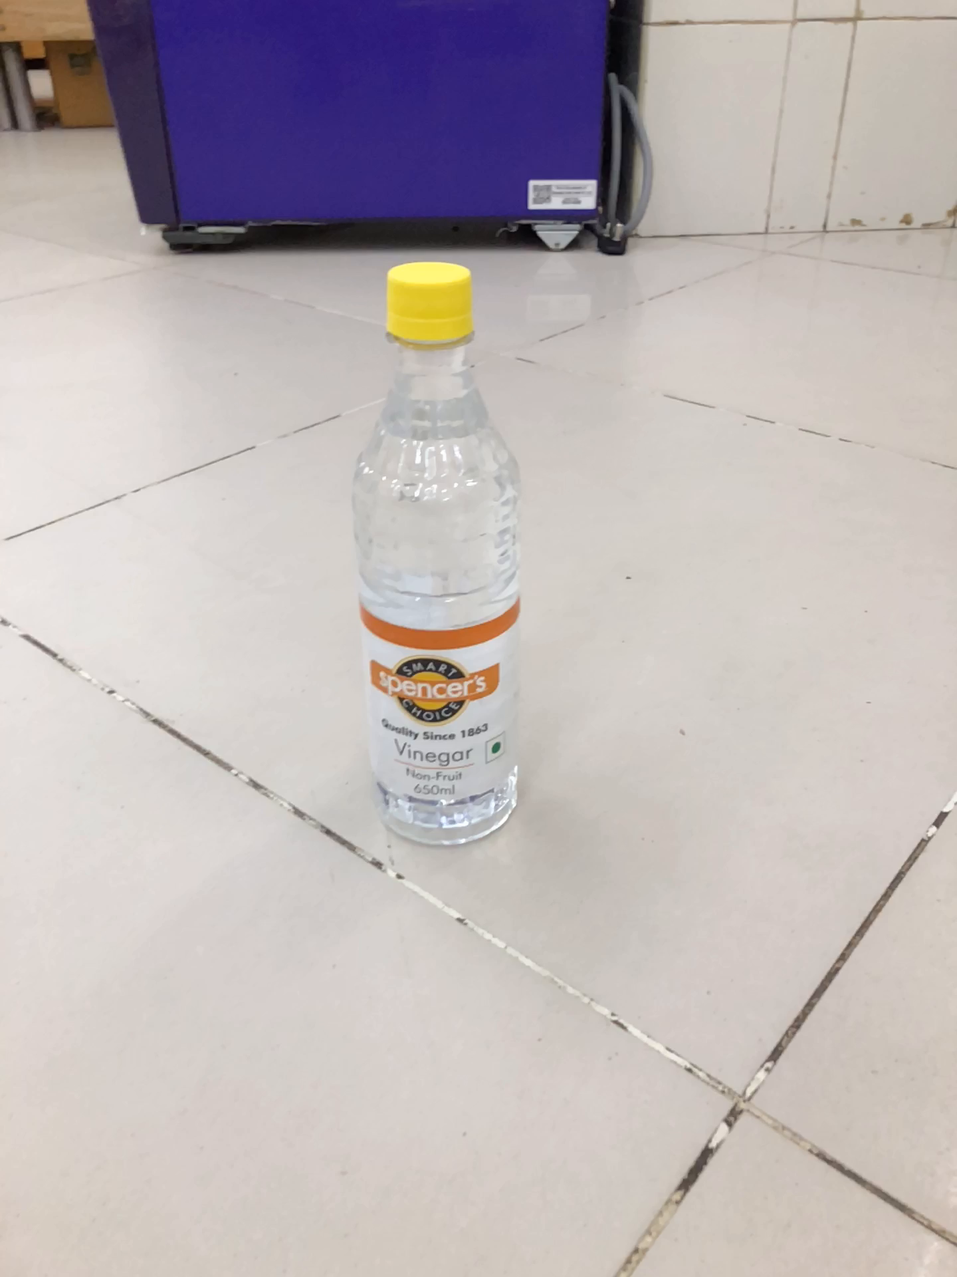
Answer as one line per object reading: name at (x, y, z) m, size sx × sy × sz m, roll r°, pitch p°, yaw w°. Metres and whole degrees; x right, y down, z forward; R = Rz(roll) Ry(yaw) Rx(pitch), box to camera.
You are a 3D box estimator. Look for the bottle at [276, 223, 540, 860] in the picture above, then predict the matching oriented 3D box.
bottle at (-0.019, -0.031, 0.419) m, size 0.080 × 0.238 × 0.081 m, roll -1°, pitch 31°, yaw 0°
